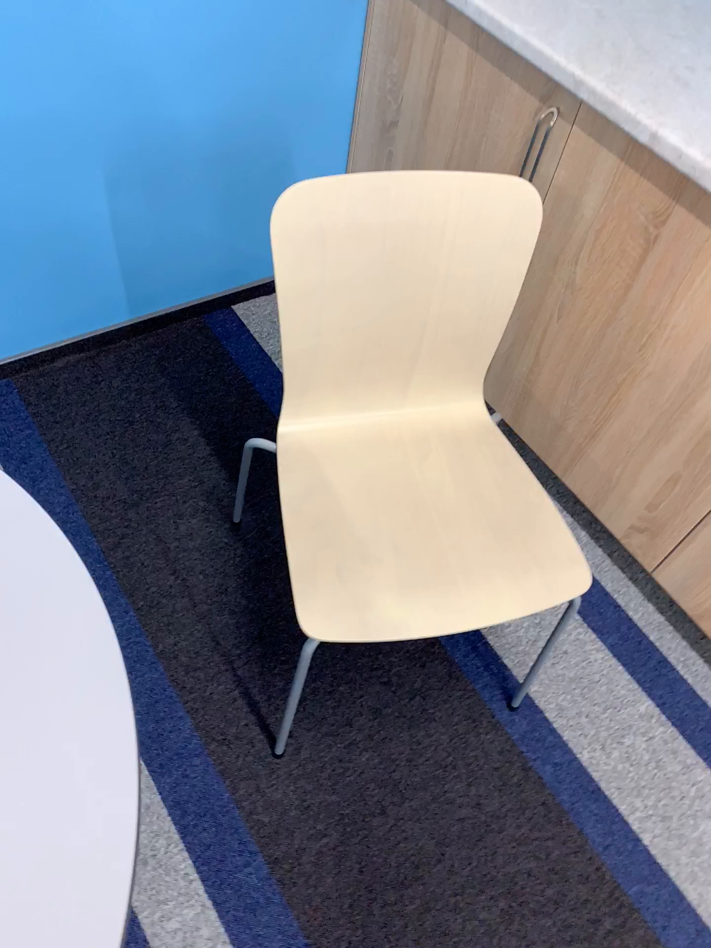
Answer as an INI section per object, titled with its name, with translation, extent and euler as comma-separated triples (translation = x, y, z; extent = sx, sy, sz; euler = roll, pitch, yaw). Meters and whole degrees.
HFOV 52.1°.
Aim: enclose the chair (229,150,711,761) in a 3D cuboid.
[chair]
translation = 0.068, 0.017, 1.204
extent = 0.476, 0.836, 0.572
euler = -6, 54, -14
